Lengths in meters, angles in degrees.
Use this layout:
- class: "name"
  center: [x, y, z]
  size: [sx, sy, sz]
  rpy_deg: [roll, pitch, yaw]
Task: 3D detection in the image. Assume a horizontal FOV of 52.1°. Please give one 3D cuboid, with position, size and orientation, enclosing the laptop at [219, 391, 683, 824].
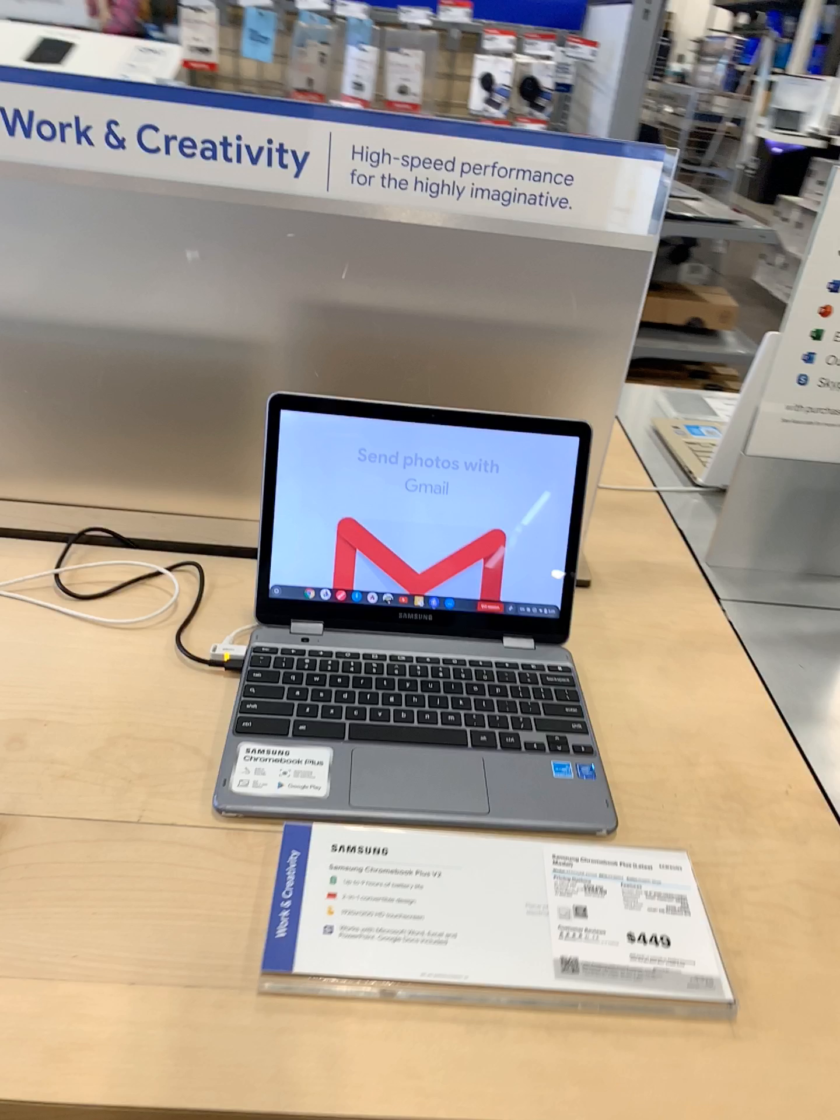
- class: "laptop"
  center: [0.006, 0.022, 0.666]
  size: [0.274, 0.183, 0.276]
  rpy_deg: [5, 32, -5]
